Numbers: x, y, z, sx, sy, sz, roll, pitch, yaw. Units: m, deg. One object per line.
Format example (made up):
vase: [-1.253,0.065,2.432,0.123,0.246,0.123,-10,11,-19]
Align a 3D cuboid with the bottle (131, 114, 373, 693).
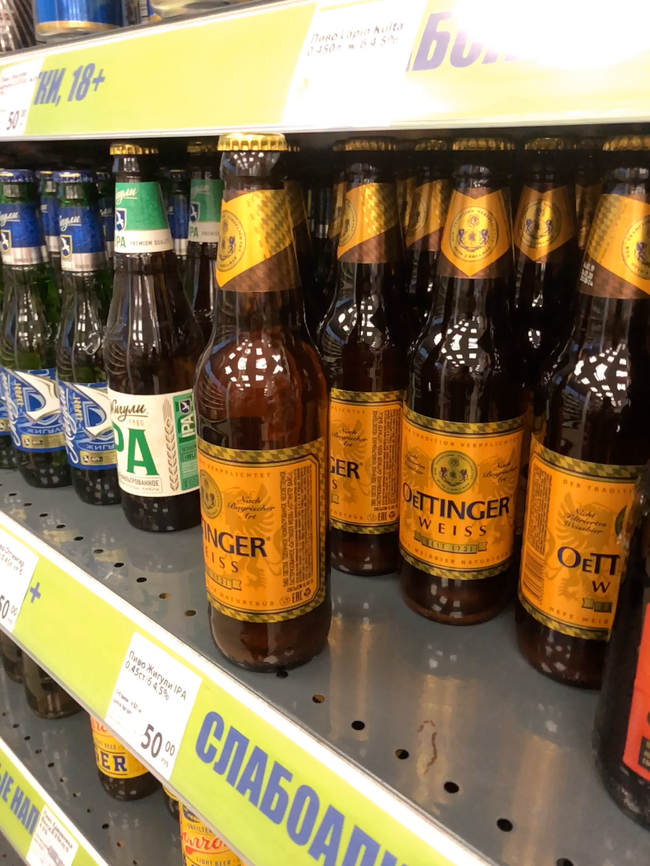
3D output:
bottle: [-0.028,-0.013,0.329,0.070,0.243,0.072,-1,22,0]
